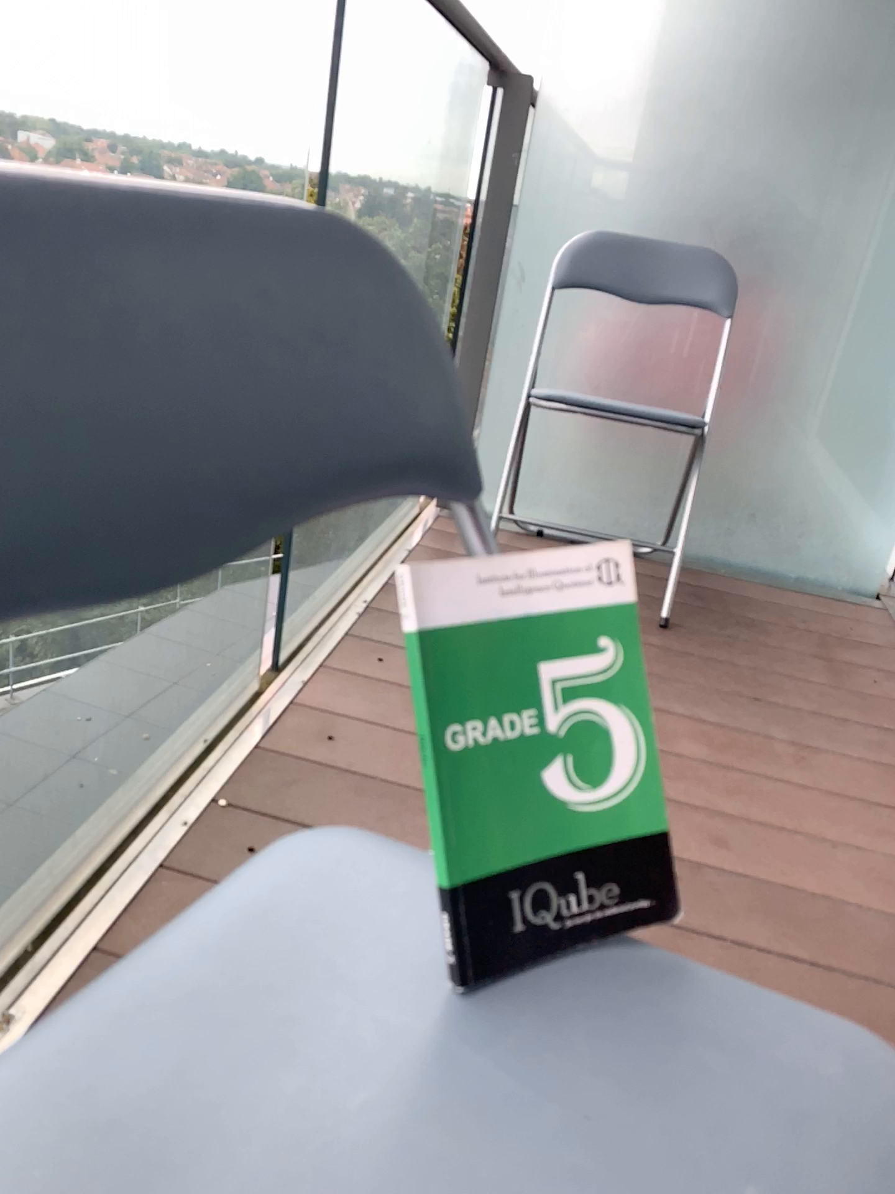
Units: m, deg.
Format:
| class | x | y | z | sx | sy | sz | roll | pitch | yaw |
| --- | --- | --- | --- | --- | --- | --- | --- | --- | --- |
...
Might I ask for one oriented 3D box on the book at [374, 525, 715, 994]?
| class | x | y | z | sx | sy | sz | roll | pitch | yaw |
| --- | --- | --- | --- | --- | --- | --- | --- | --- | --- |
| book | 0.054 | 0.075 | 0.480 | 0.150 | 0.210 | 0.040 | -8 | -4 | -28 |
